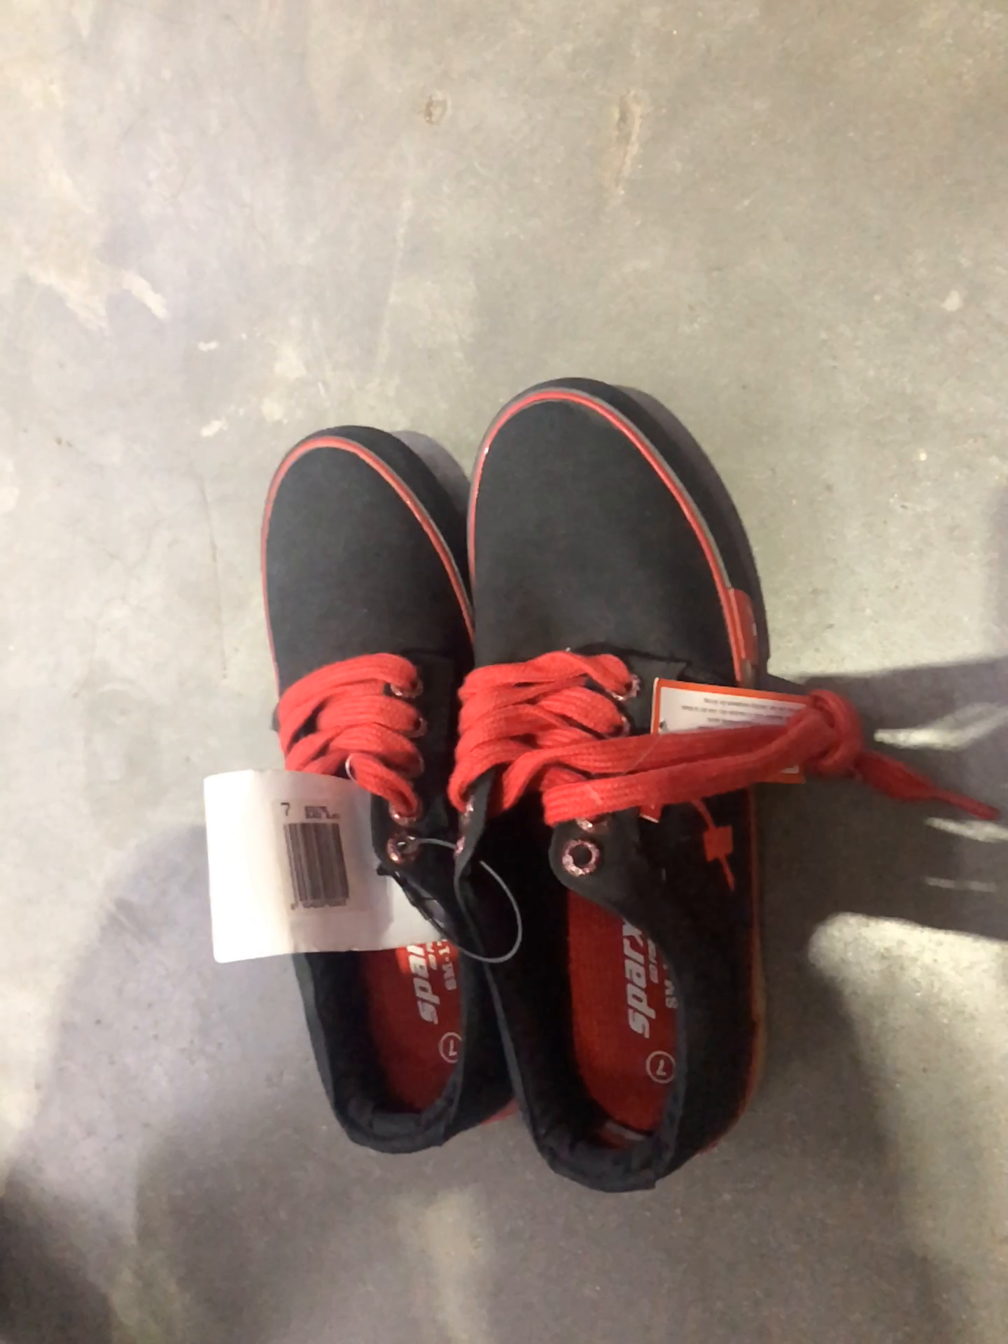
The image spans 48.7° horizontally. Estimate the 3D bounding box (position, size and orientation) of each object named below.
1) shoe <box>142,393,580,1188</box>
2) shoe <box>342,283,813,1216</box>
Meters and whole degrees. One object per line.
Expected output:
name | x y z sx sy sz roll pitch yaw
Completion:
shoe | -0.049 0.042 0.418 0.100 0.100 0.250 -10 84 12
shoe | 0.027 0.023 0.366 0.100 0.100 0.250 -7 86 27
